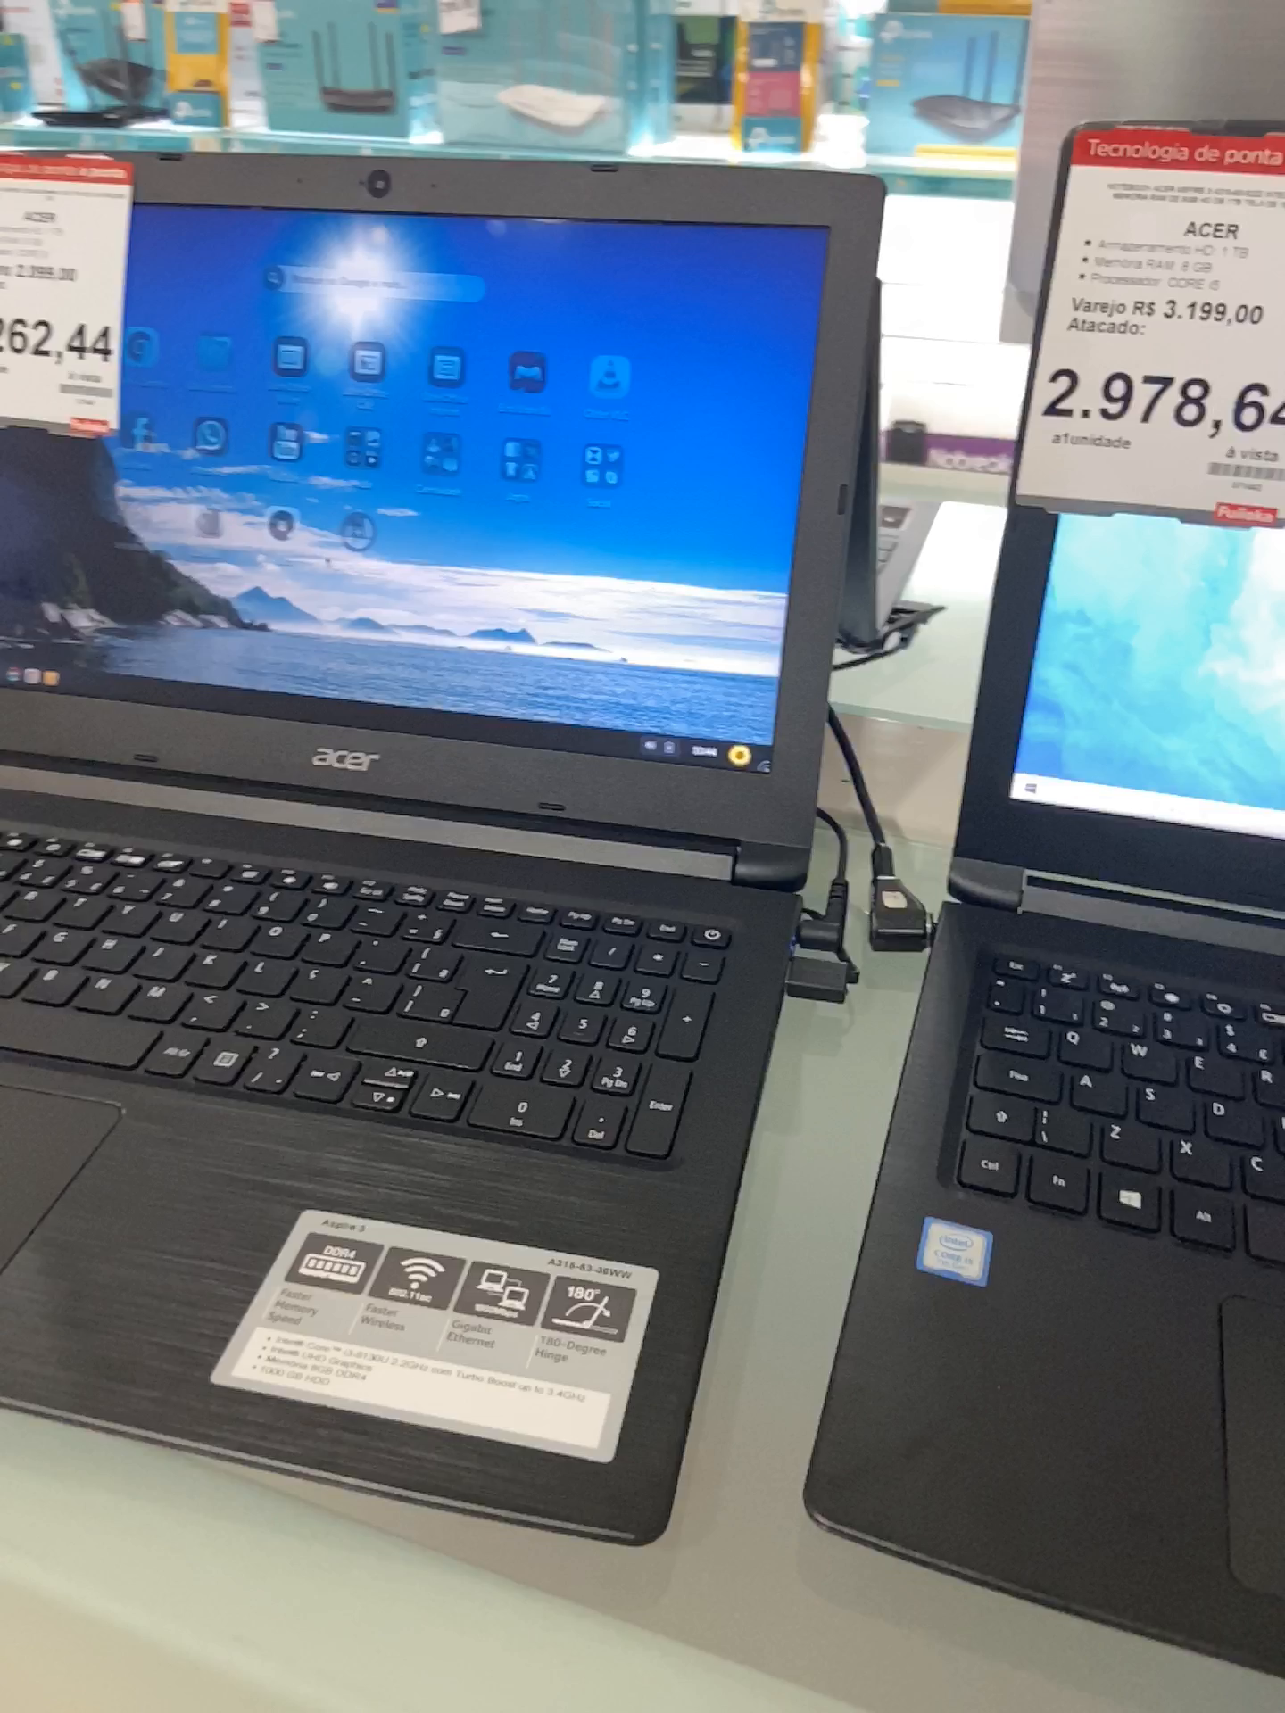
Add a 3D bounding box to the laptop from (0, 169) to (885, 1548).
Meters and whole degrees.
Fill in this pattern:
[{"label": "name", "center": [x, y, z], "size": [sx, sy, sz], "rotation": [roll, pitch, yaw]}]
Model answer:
[{"label": "laptop", "center": [-0.145, -0.067, 0.421], "size": [0.389, 0.226, 0.377], "rotation": [7, 34, 11]}]
